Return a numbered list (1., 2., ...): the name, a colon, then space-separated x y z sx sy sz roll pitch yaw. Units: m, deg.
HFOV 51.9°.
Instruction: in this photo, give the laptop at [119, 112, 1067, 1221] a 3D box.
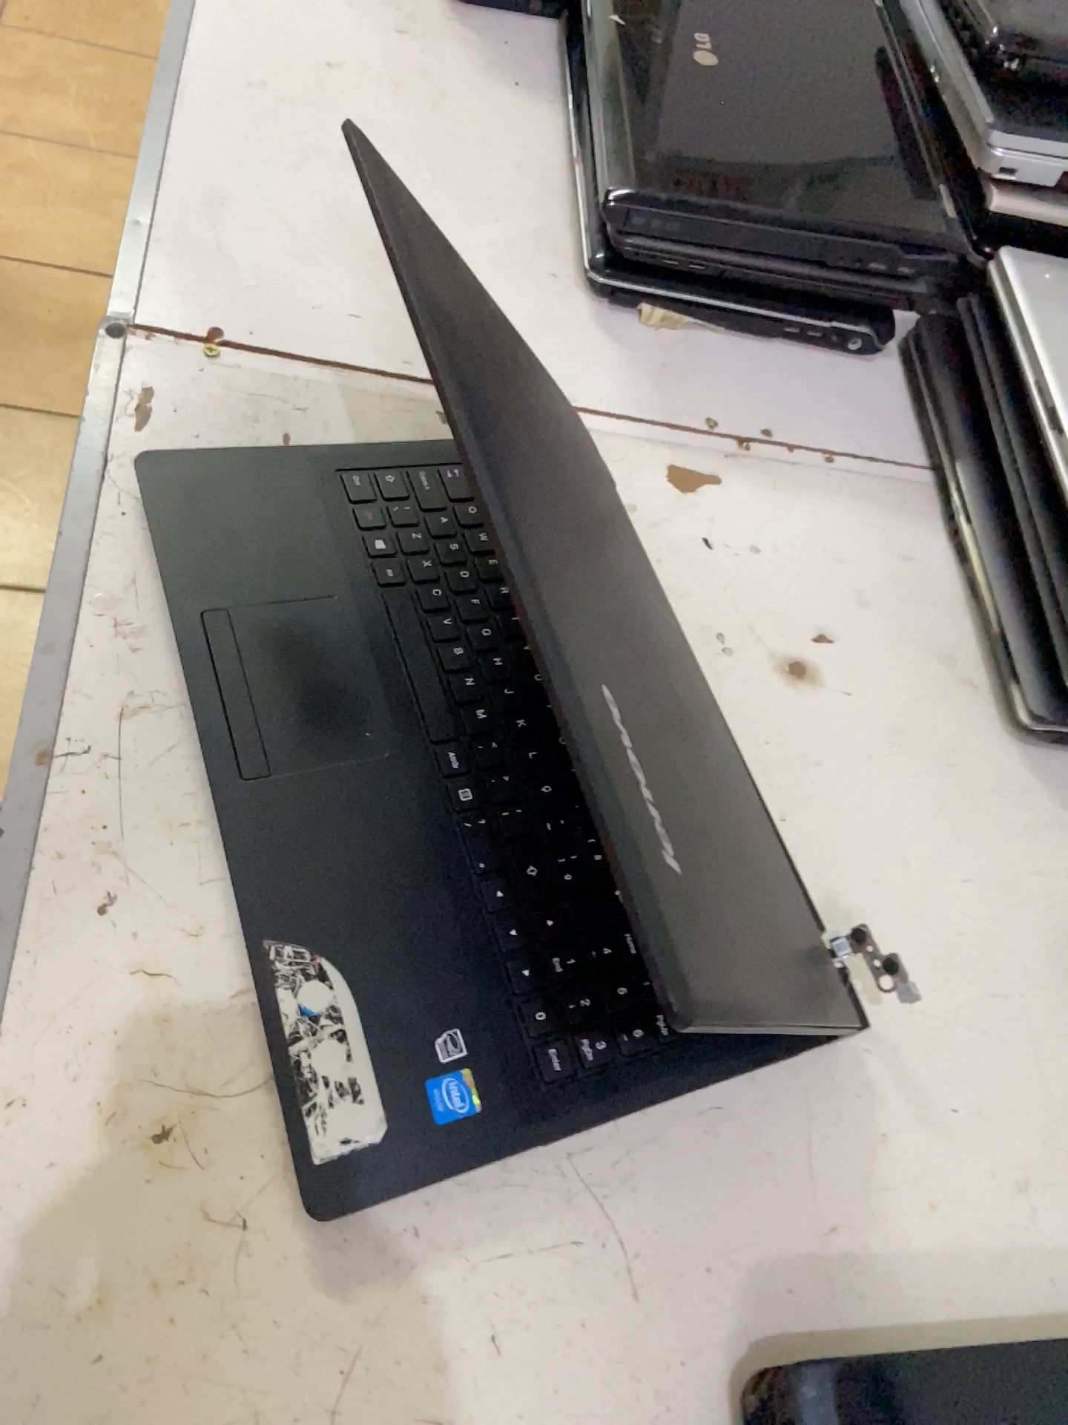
1. laptop: -0.003 -0.037 0.463 0.258 0.189 0.376 -10 63 -24
